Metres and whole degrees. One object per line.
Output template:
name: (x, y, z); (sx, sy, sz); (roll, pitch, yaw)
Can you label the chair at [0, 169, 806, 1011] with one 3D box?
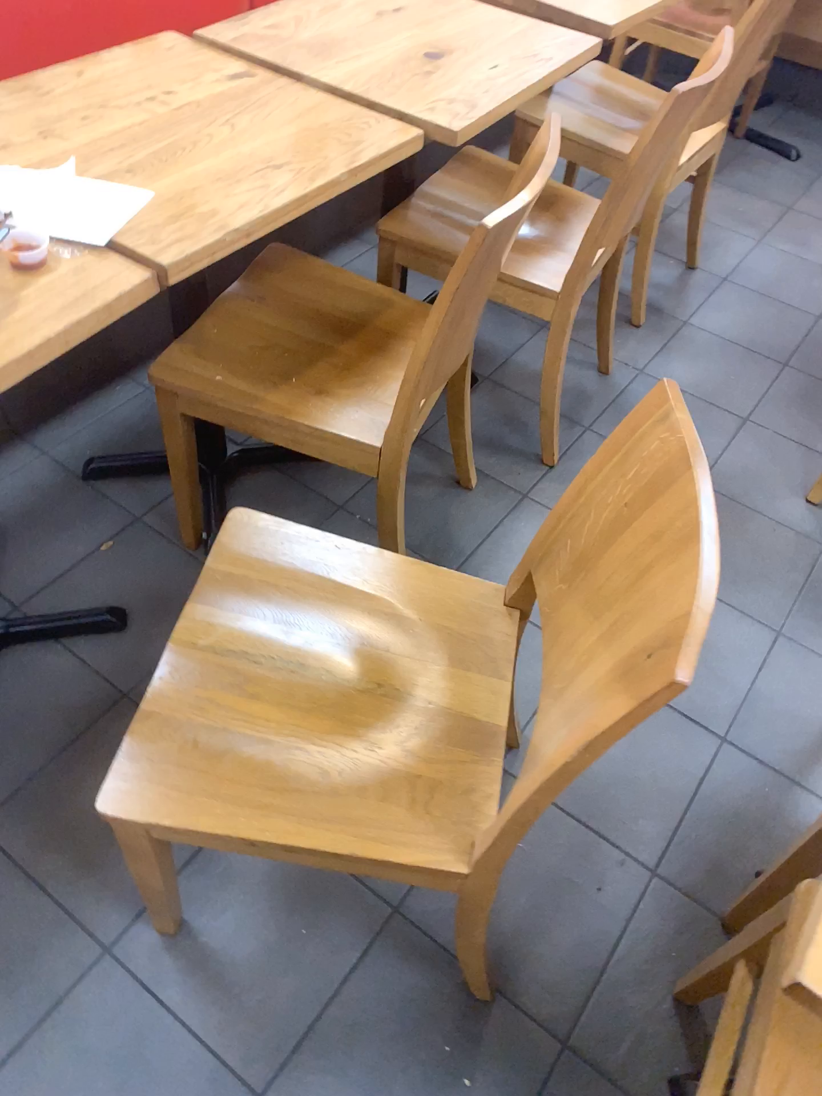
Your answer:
chair: (-0.060, 0.138, 1.059); (0.610, 0.892, 0.515); (13, 49, 0)
